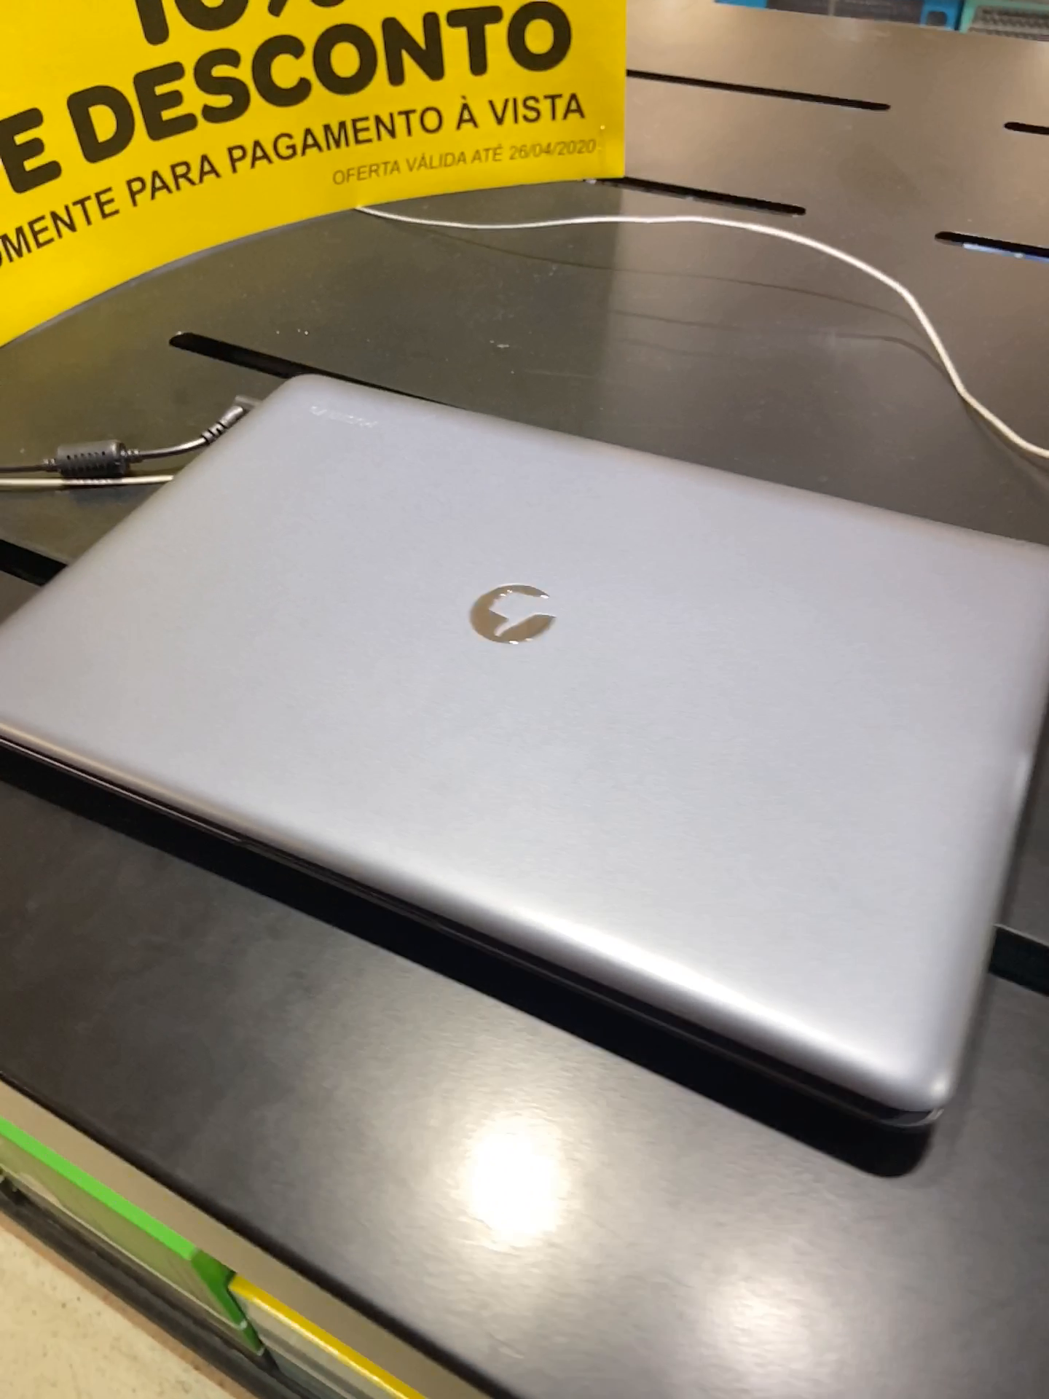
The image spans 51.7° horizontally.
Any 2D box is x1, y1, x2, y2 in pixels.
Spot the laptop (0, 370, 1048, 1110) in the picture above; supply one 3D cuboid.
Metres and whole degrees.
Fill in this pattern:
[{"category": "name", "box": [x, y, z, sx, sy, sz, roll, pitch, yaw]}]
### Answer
[{"category": "laptop", "box": [-0.008, -0.027, 0.366, 0.329, 0.001, 0.213, 18, 51, 20]}]
